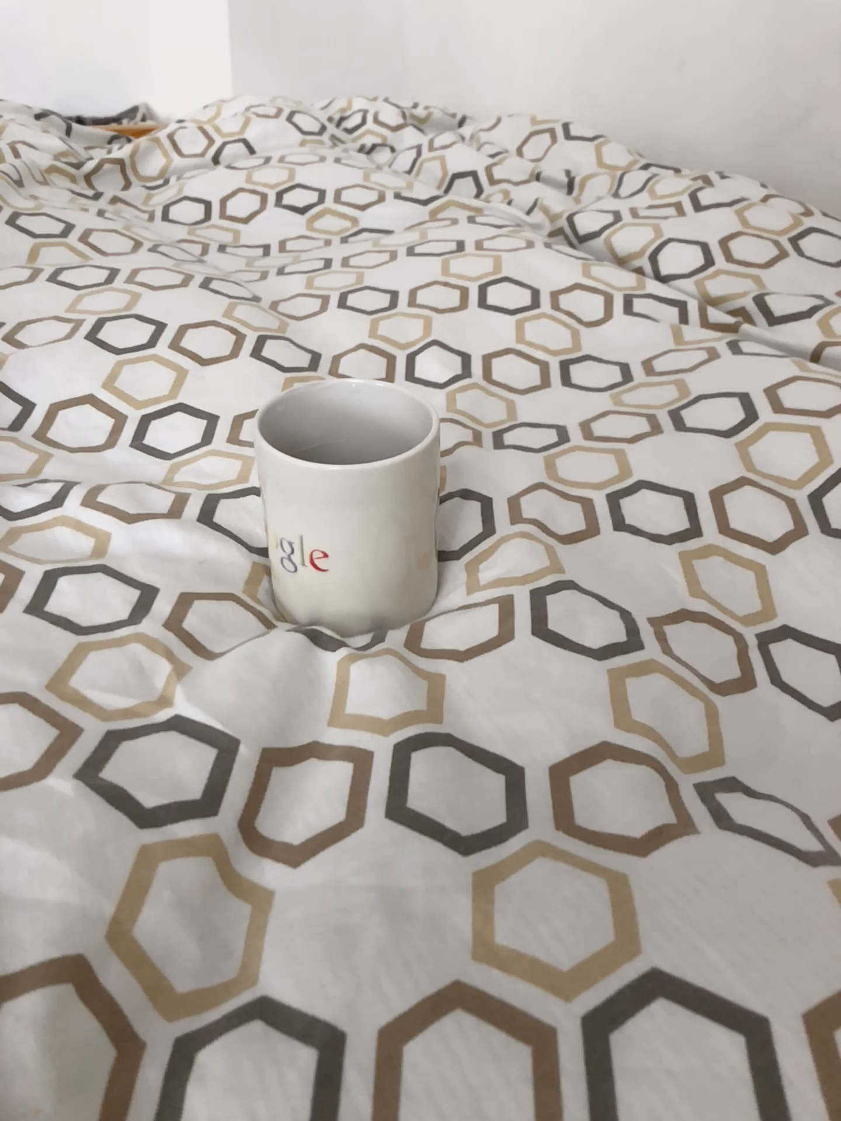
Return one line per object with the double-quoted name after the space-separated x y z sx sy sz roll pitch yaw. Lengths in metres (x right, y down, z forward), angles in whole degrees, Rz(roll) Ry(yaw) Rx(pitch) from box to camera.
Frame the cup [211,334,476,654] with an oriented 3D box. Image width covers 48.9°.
-0.039 -0.038 0.437 0.087 0.087 0.126 -12 36 -16 "cup"
